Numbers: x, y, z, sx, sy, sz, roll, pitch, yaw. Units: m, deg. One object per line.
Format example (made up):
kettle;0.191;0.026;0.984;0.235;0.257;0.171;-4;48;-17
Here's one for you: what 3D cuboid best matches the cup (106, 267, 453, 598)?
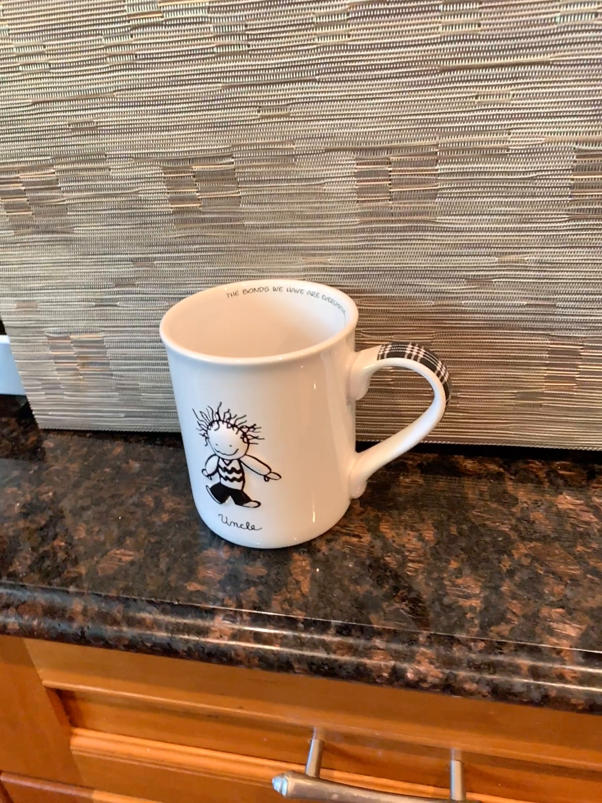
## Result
cup;0.000;0.007;0.305;0.130;0.109;0.100;6;32;16
